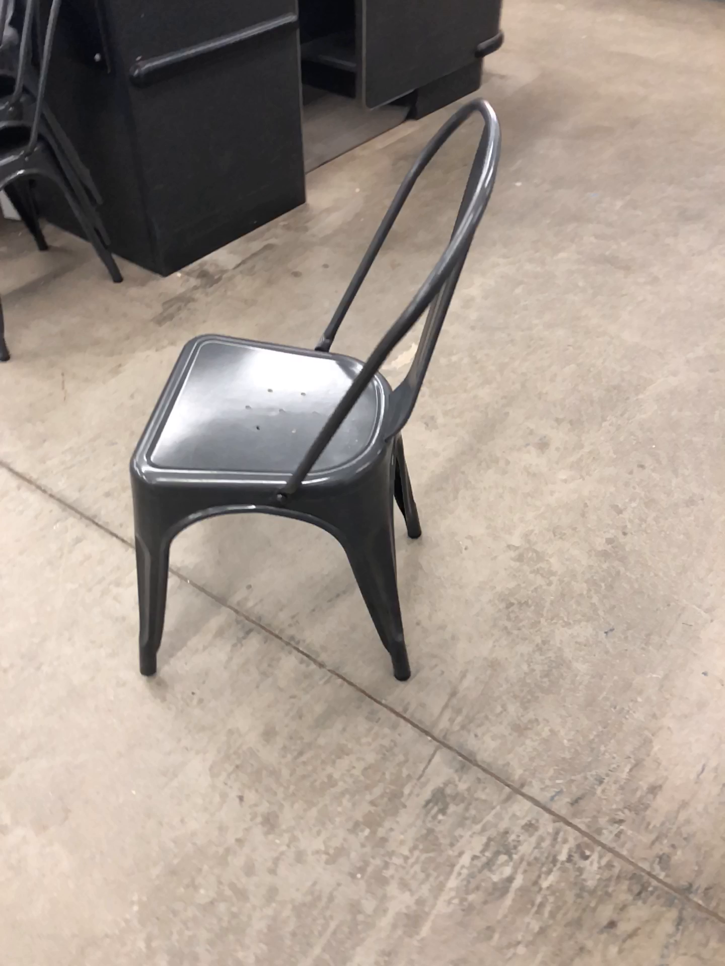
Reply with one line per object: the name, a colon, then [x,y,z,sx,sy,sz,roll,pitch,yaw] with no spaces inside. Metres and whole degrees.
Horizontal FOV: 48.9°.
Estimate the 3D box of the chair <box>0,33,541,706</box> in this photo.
chair: [-0.070,-0.123,1.155,0.500,0.817,0.482,3,45,4]
